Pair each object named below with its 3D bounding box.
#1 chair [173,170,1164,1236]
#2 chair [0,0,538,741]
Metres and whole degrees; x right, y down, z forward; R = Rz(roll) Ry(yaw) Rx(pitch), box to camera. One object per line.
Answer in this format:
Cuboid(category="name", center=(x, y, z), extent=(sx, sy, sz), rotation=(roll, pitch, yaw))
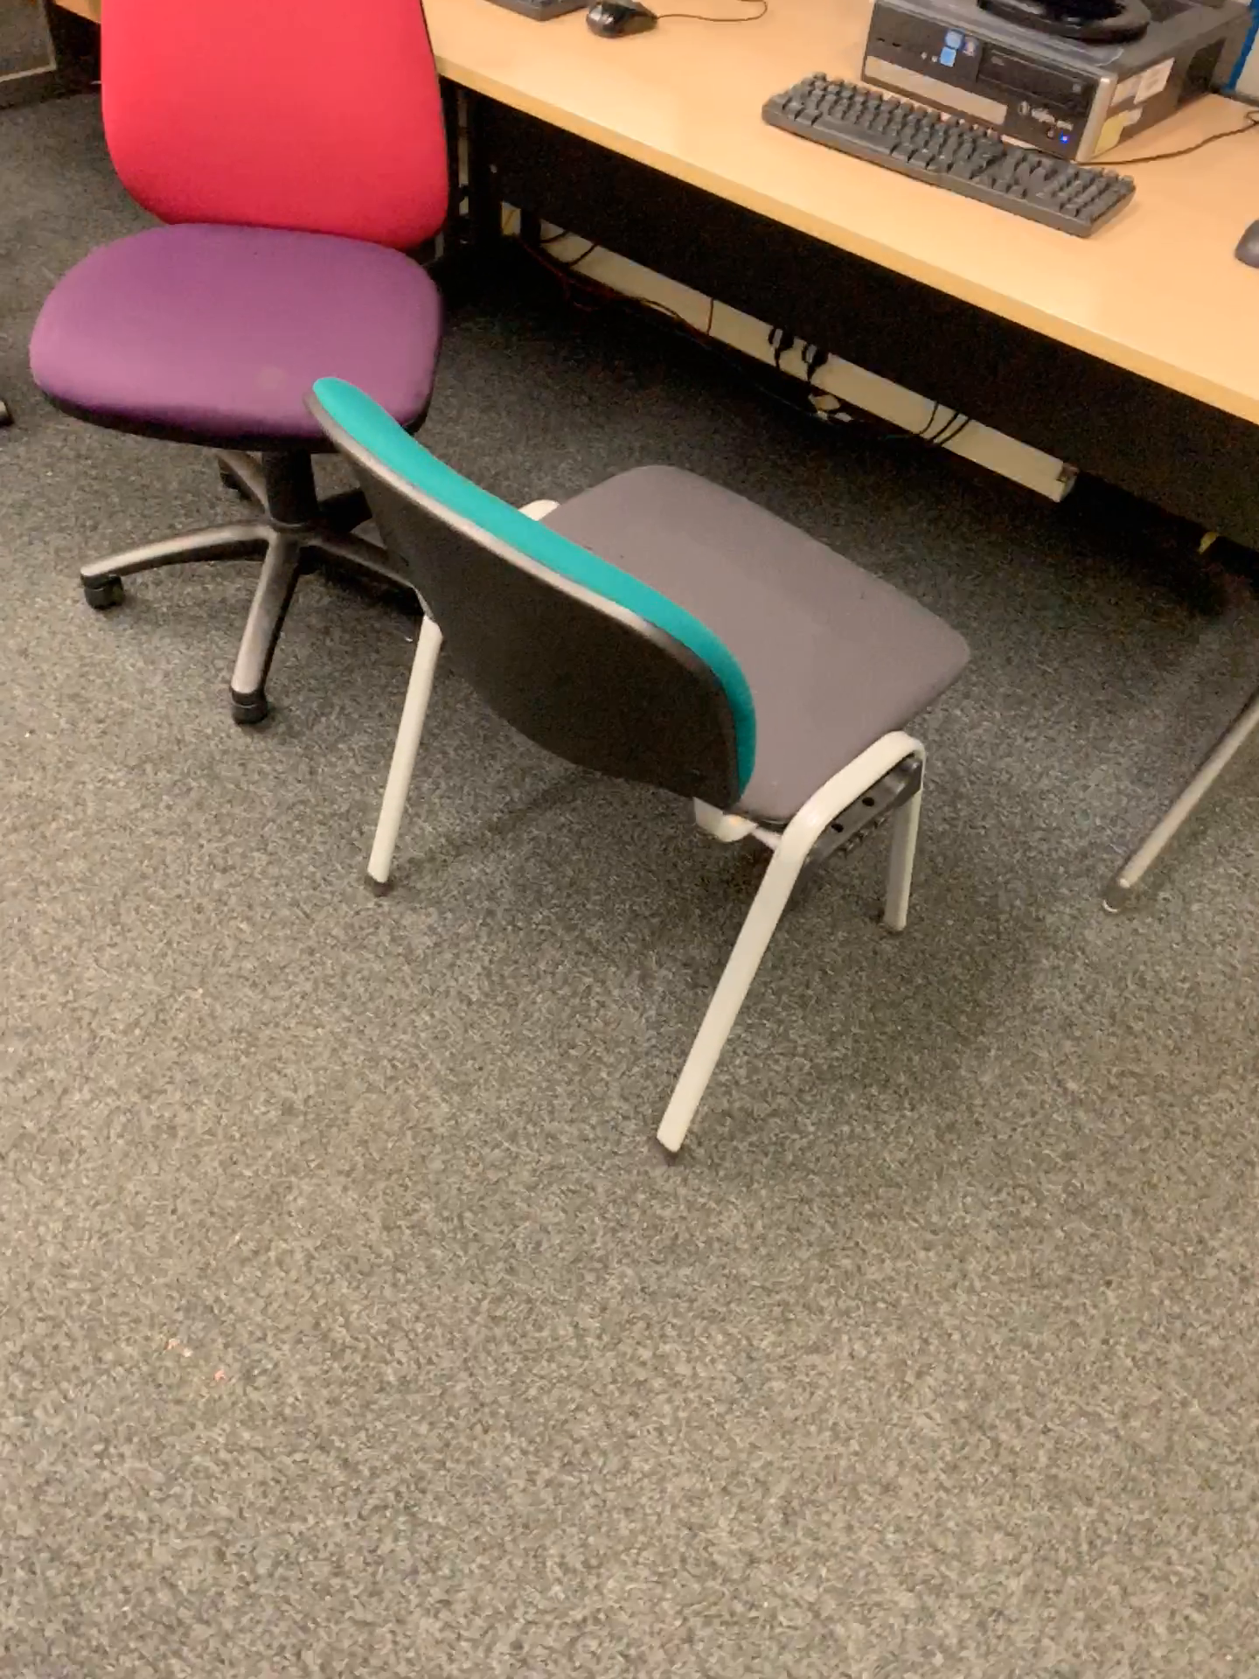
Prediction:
Cuboid(category="chair", center=(0.020, -0.142, 1.303), extent=(0.554, 0.721, 0.601), rotation=(37, 54, 24))
Cuboid(category="chair", center=(-0.458, -0.680, 1.629), extent=(0.652, 0.860, 0.674), rotation=(1, 48, -5))
